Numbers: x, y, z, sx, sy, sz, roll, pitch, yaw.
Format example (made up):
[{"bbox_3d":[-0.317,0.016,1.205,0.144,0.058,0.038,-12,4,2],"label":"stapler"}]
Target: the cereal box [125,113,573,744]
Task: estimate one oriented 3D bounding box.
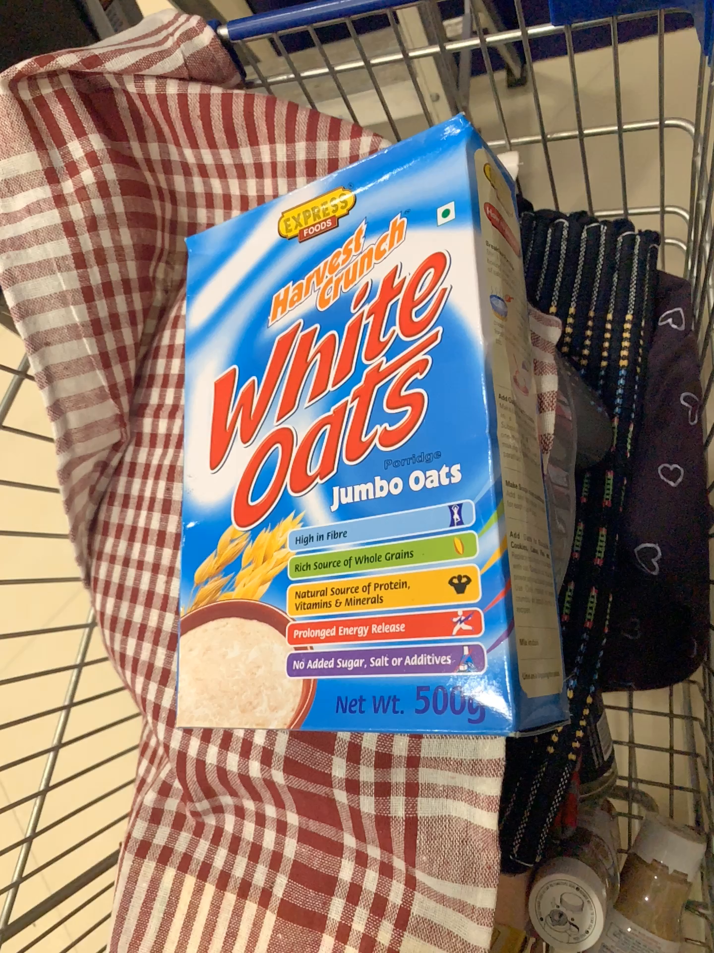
[{"bbox_3d":[-0.010,-0.008,0.285,0.150,0.060,0.200,-10,74,30],"label":"cereal box"}]
